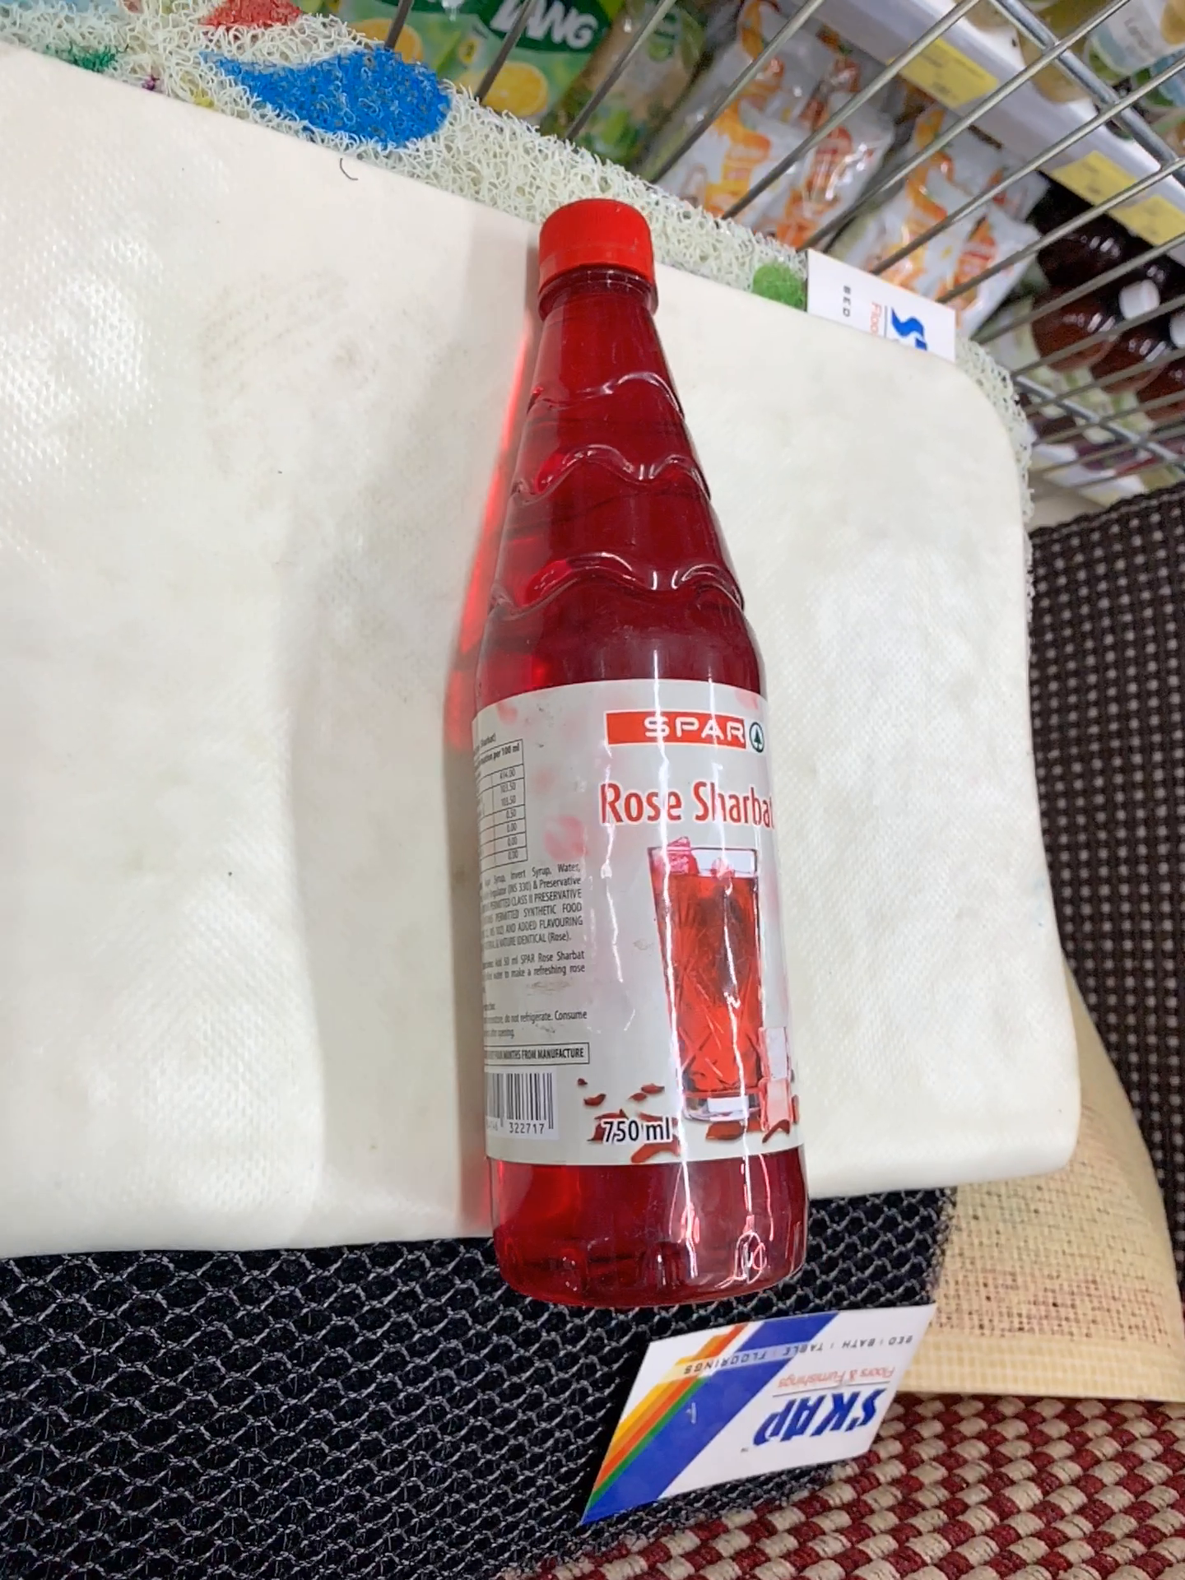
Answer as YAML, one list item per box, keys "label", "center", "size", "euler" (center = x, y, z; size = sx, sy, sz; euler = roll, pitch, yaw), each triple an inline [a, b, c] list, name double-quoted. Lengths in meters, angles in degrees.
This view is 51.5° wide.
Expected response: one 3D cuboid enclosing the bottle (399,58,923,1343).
- label: "bottle"
  center: [0.008, -0.018, 0.260]
  size: [0.070, 0.070, 0.230]
  euler: [2, 79, -29]
